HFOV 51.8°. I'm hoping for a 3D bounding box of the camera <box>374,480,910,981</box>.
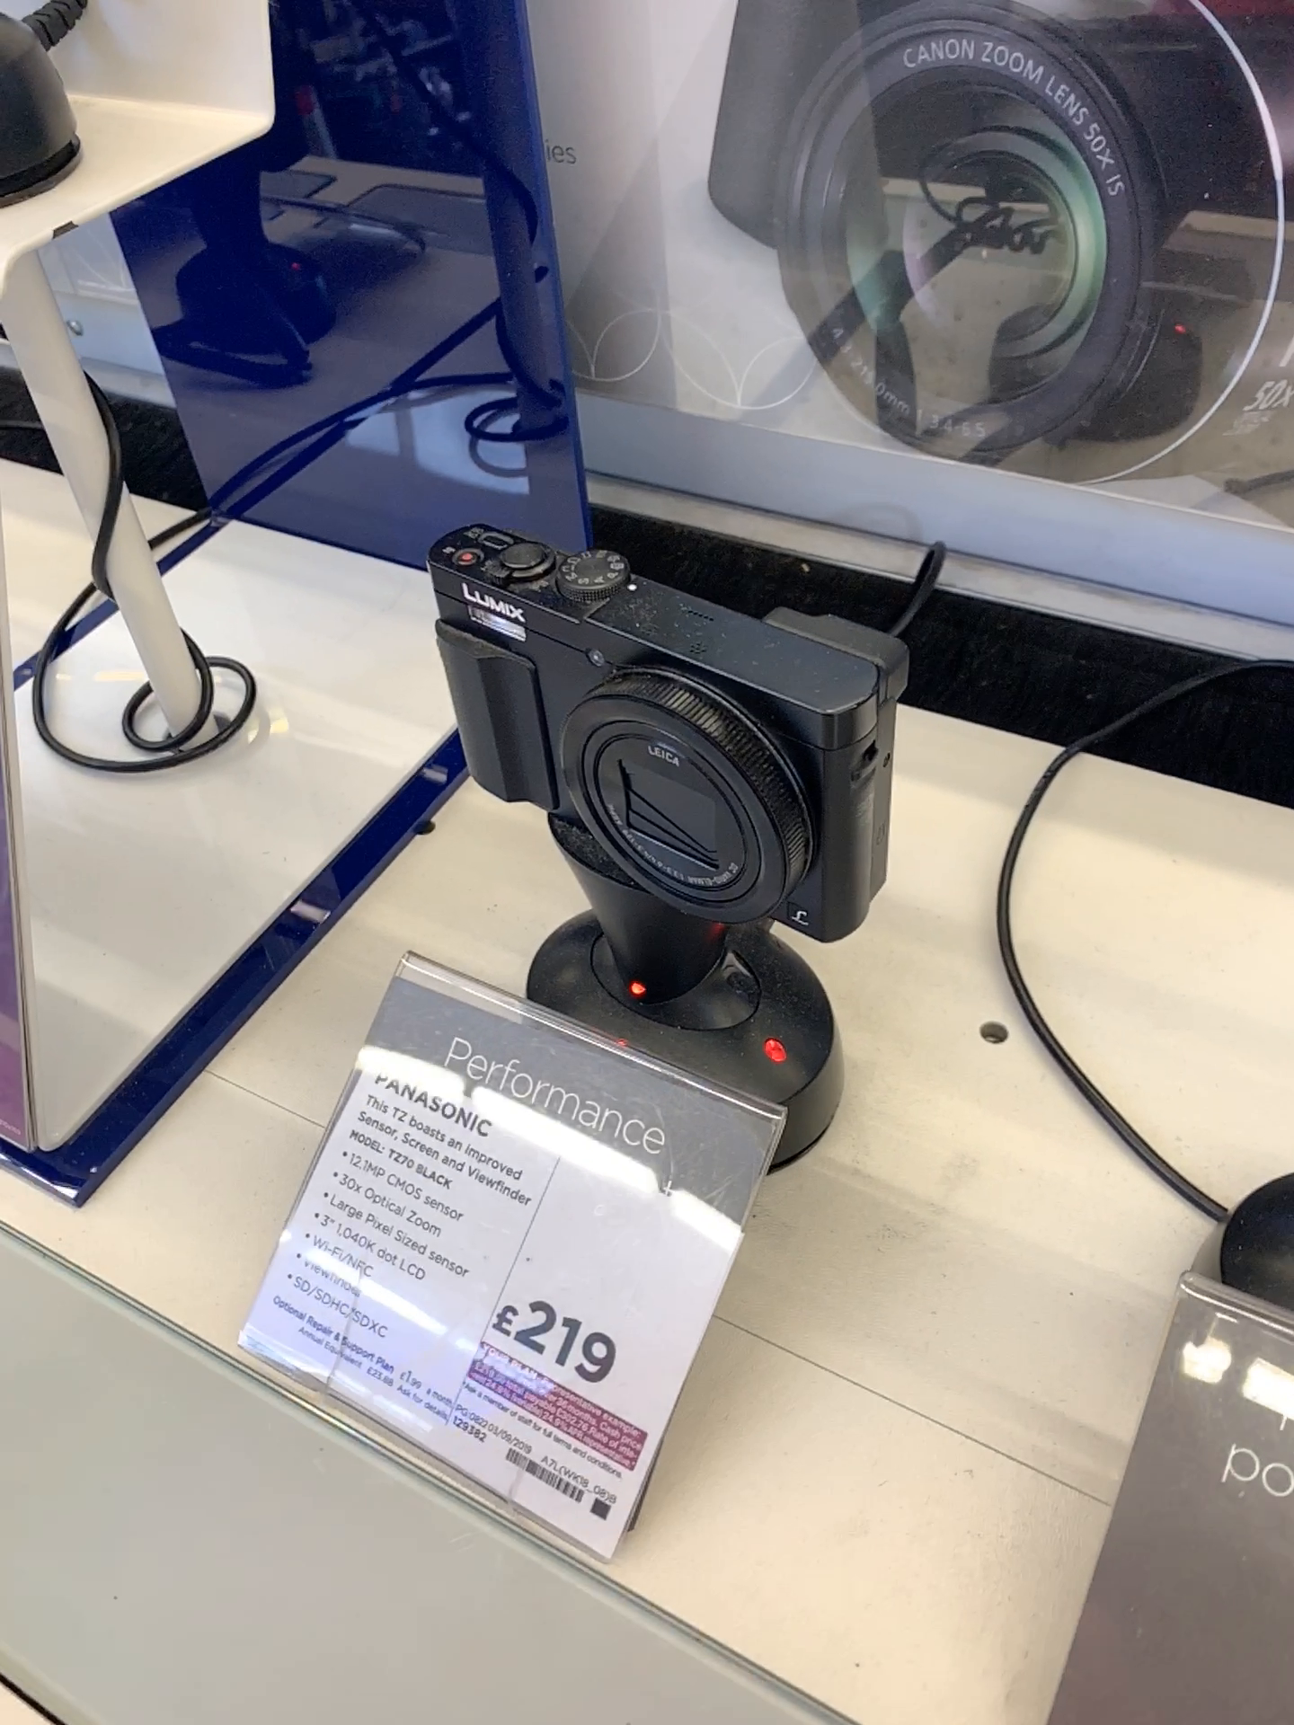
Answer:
[{"bbox_3d":[-0.002,-0.030,0.287,0.110,0.069,0.030,26,53,28],"label":"camera"}]
